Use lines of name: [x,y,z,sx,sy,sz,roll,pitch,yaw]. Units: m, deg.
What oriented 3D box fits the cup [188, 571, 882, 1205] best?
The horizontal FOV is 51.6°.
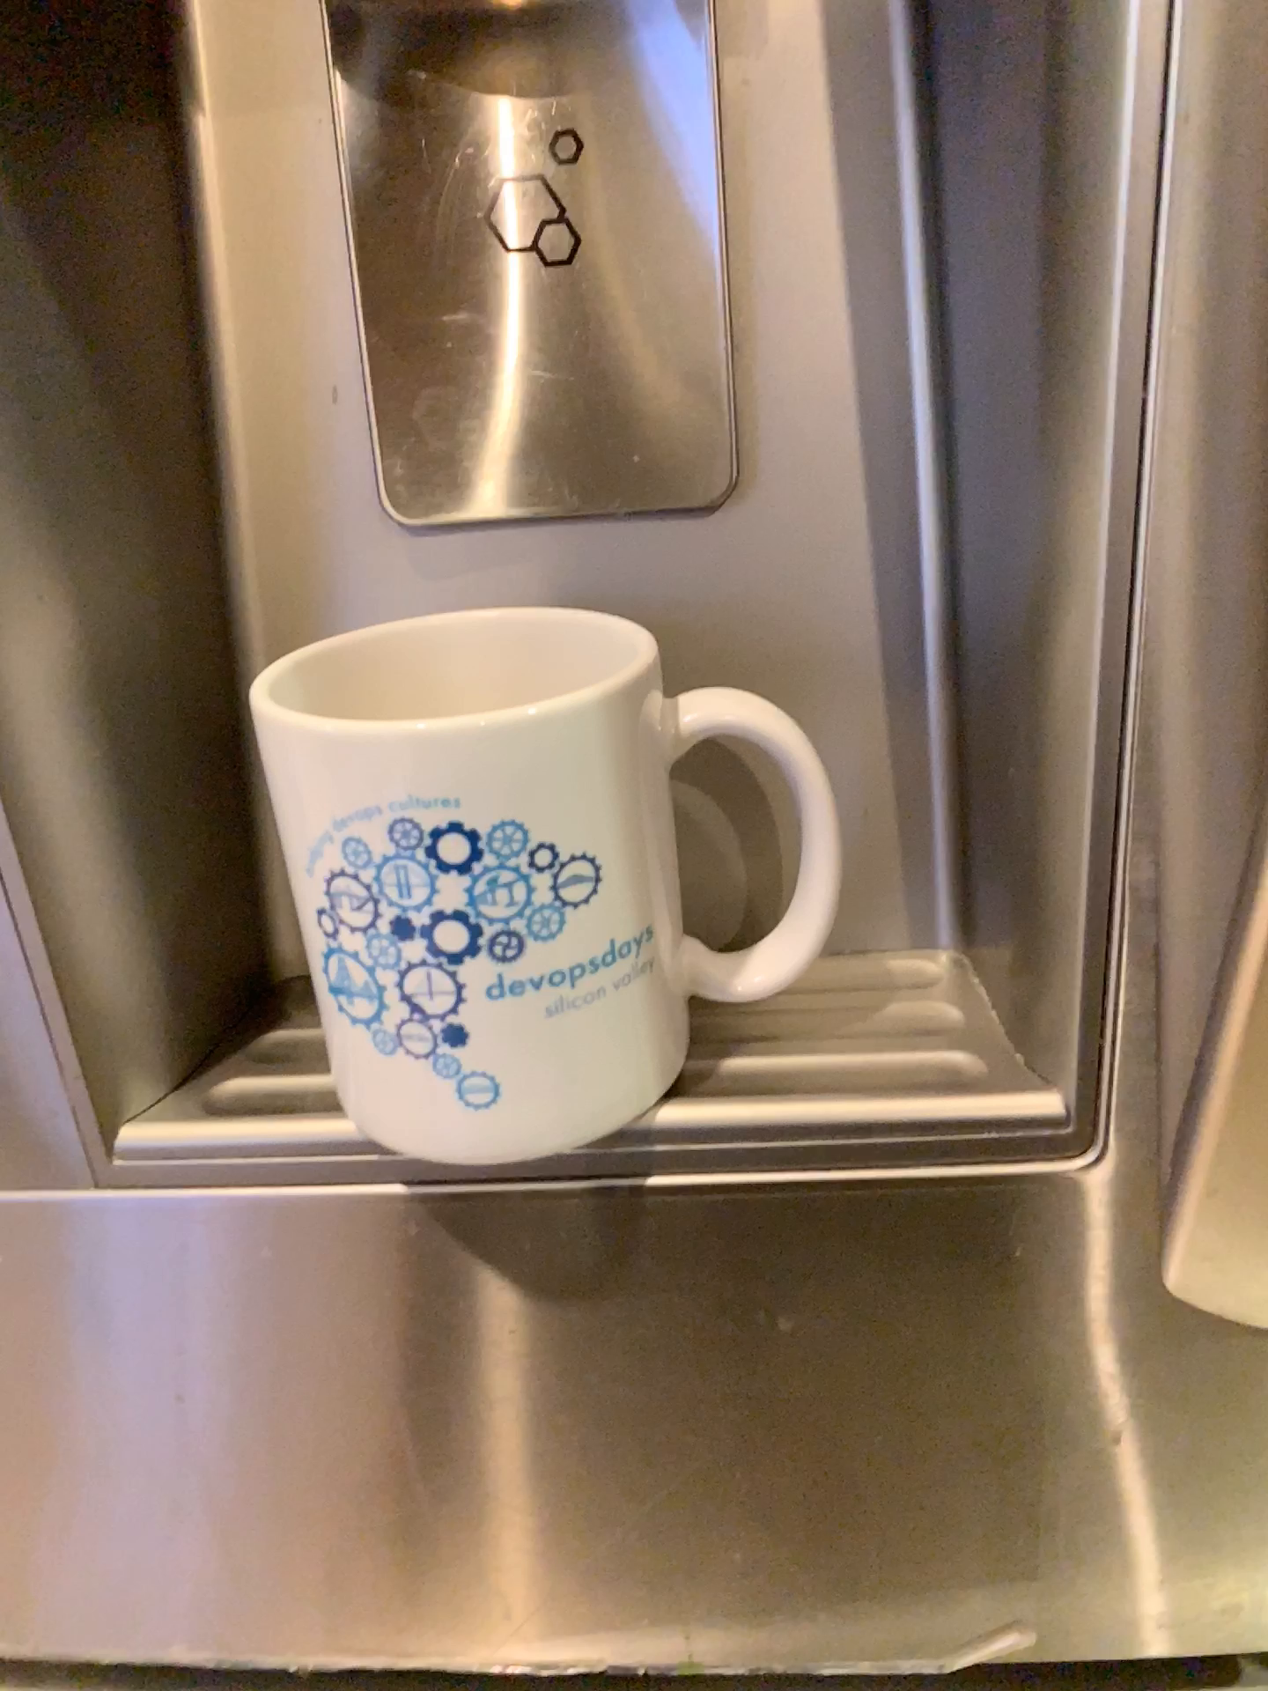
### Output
cup: [-0.016,0.005,0.284,0.120,0.099,0.081,-6,24,-1]
